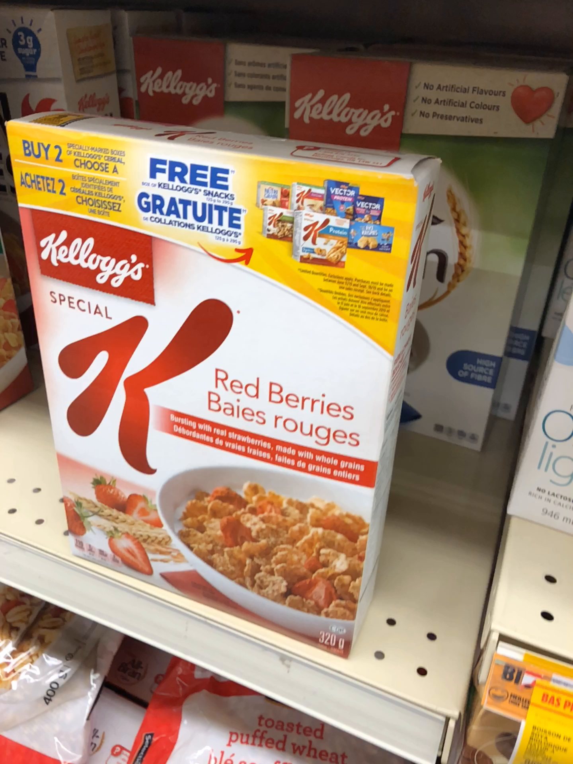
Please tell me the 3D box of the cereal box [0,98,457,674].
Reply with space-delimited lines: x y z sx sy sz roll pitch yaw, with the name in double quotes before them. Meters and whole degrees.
"cereal box" -0.038 0.008 0.310 0.190 0.248 0.050 14 33 19
